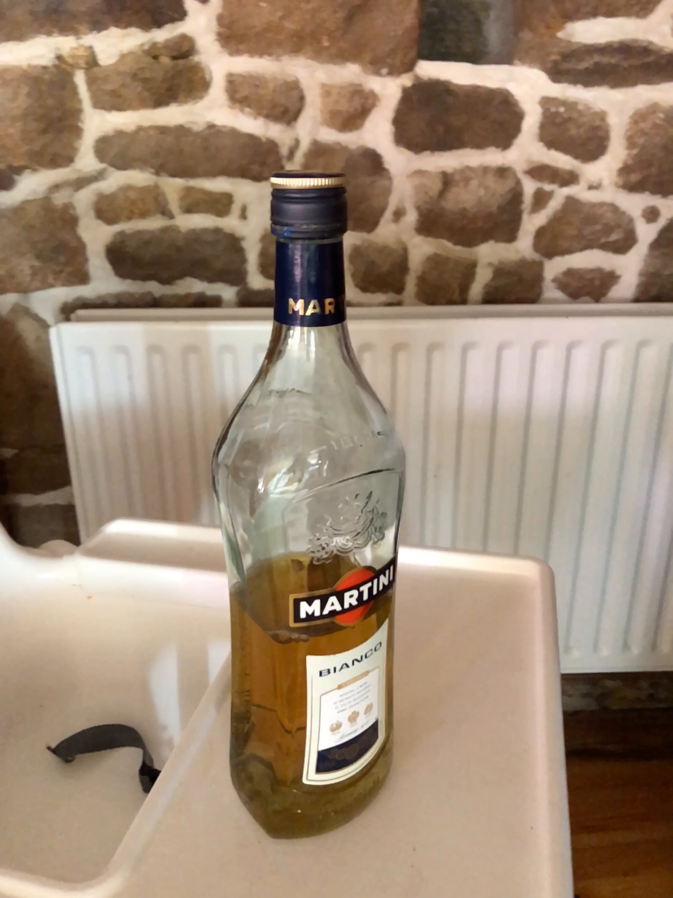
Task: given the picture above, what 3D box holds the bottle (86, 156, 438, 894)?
[{"bbox_3d":[-0.026,0.037,0.346,0.110,0.318,0.080,-15,27,-29],"label":"bottle"}]
